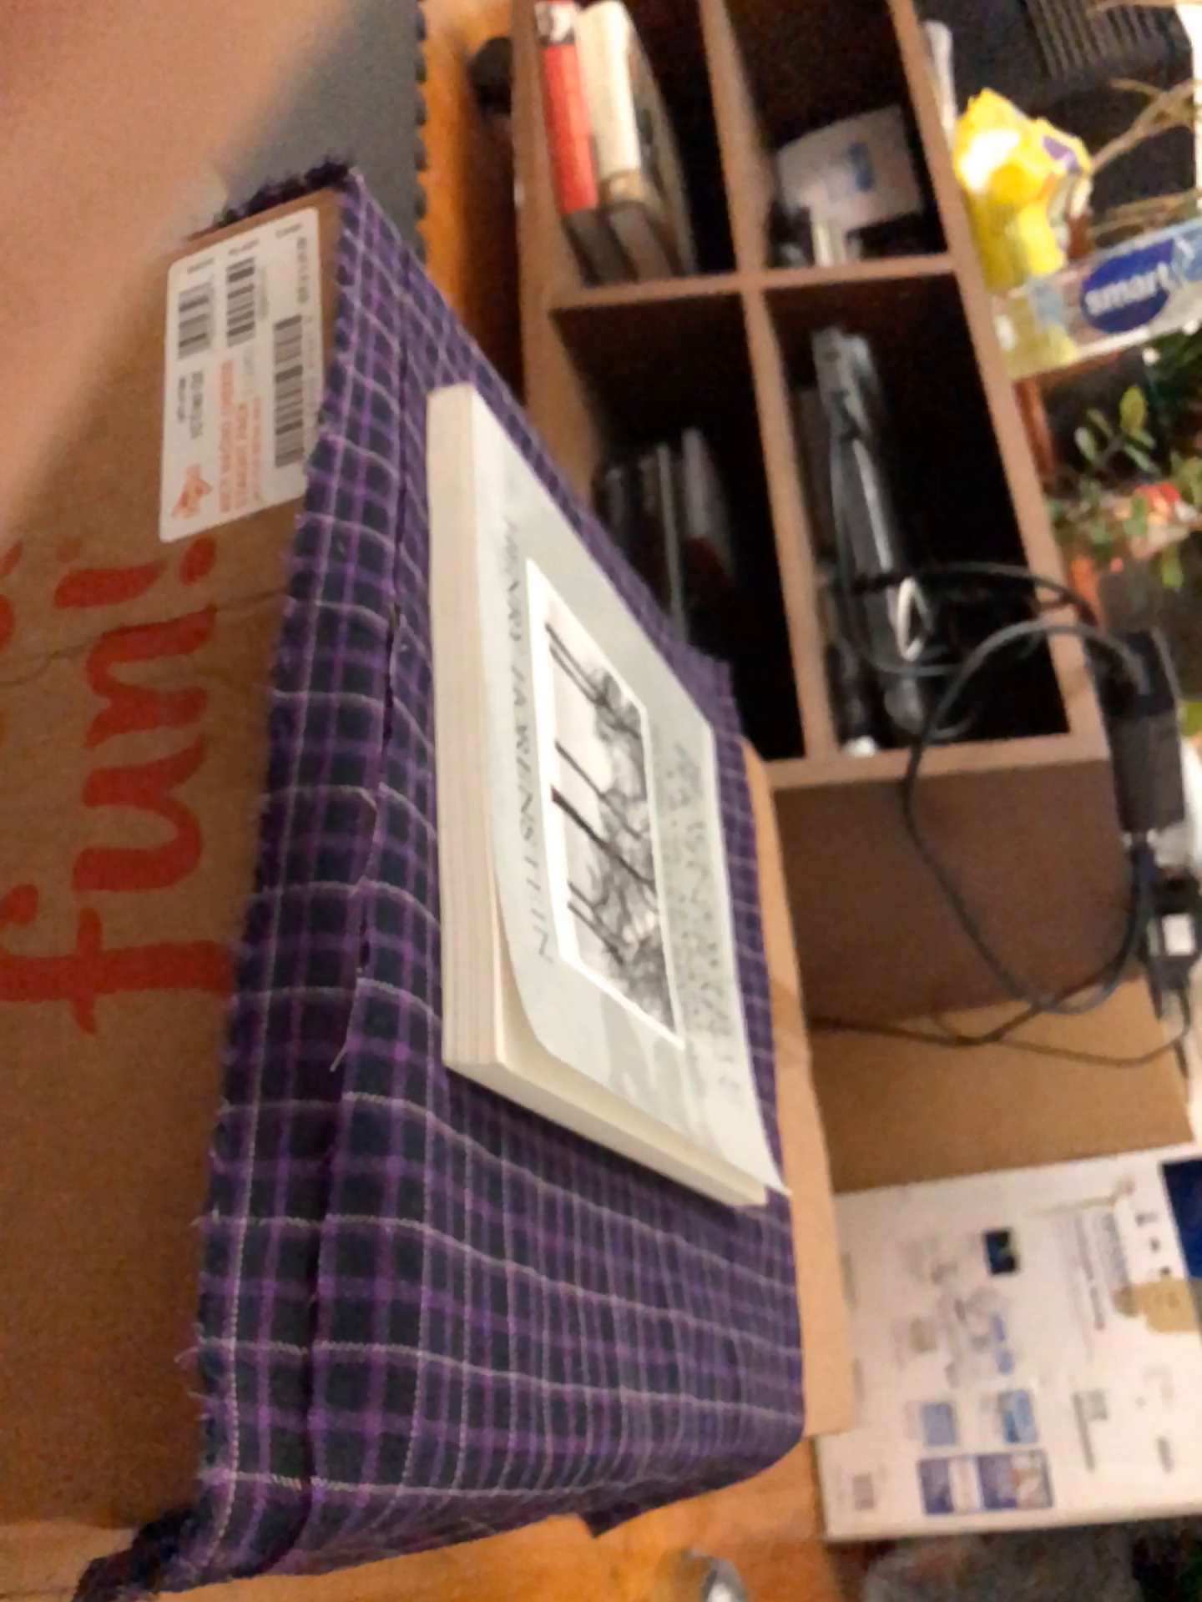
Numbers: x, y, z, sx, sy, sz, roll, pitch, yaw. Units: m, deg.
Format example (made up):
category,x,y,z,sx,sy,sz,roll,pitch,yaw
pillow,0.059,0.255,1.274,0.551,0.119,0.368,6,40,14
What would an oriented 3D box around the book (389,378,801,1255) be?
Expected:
category,x,y,z,sx,sy,sz,roll,pitch,yaw
book,0.006,0.026,0.445,0.251,0.030,0.210,46,35,-57
